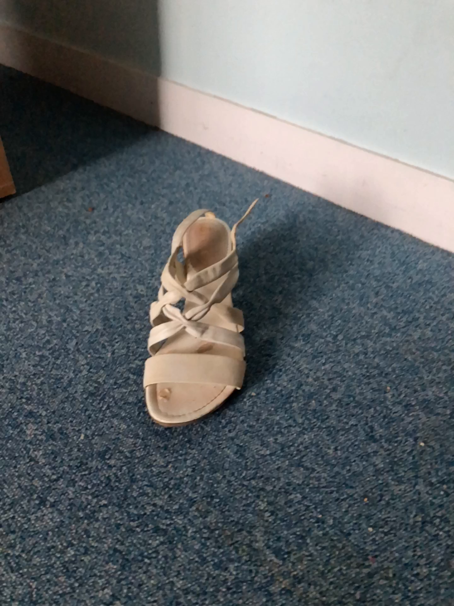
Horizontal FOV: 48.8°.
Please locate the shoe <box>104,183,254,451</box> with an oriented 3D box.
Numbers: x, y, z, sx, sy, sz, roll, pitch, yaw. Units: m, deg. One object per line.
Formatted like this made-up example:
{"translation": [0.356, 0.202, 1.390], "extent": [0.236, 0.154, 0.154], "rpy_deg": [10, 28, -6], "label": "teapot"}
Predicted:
{"translation": [-0.030, -0.002, 0.467], "extent": [0.100, 0.109, 0.241], "rpy_deg": [4, 41, 1], "label": "shoe"}
